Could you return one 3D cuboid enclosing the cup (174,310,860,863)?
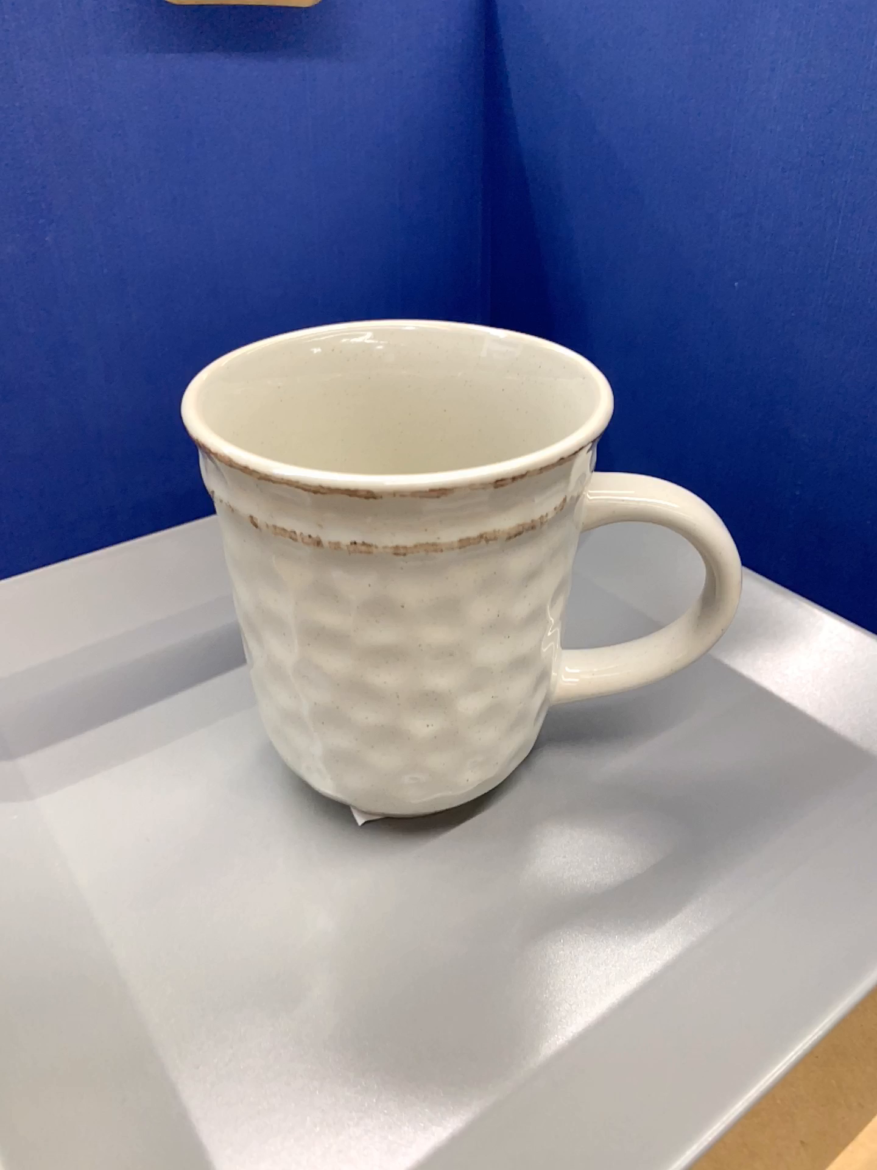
[{"bbox_3d":[0.008,-0.009,0.221,0.123,0.082,0.102,-6,31,-10],"label":"cup"}]
